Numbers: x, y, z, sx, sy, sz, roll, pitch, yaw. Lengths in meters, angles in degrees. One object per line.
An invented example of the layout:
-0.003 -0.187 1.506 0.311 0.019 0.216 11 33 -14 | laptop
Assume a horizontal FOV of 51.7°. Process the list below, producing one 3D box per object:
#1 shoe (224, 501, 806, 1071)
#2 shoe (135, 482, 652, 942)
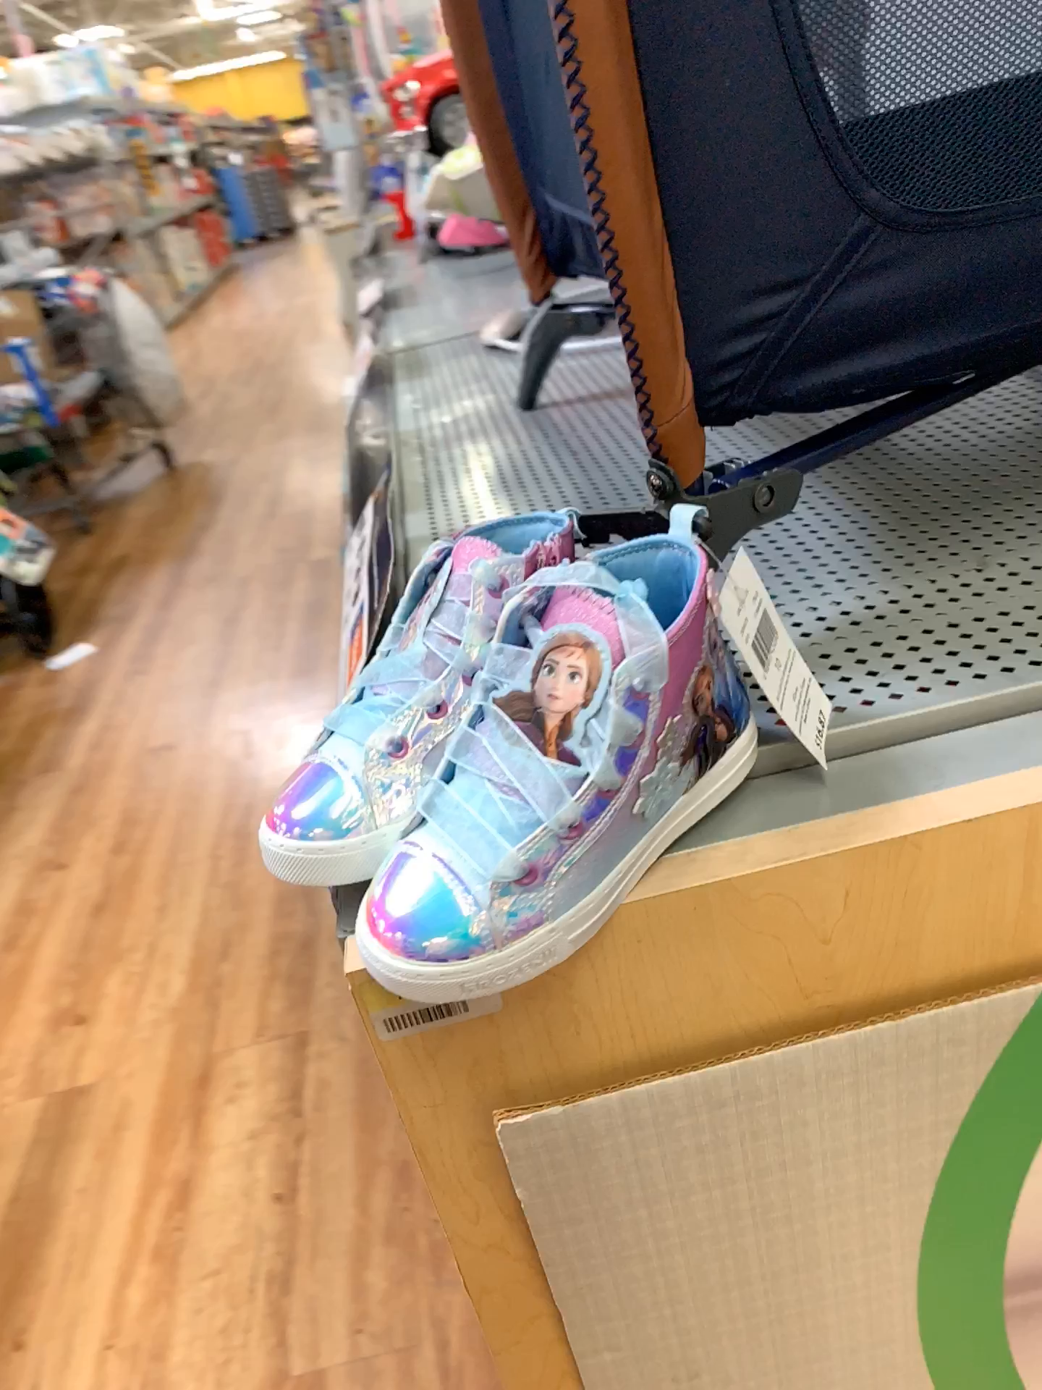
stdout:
0.009 0.020 0.387 0.182 0.102 0.090 -31 39 -29 | shoe
-0.044 -0.004 0.450 0.182 0.102 0.080 -31 33 -29 | shoe
